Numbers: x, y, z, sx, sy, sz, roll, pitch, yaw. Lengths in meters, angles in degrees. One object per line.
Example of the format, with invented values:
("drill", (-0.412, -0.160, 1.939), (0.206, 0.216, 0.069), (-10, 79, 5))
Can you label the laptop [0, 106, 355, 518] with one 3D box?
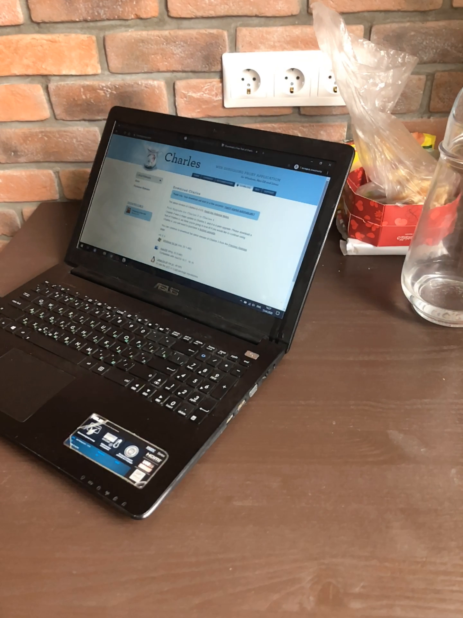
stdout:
("laptop", (-0.125, -0.062, 0.580), (0.373, 0.186, 0.401), (20, 42, 28))
